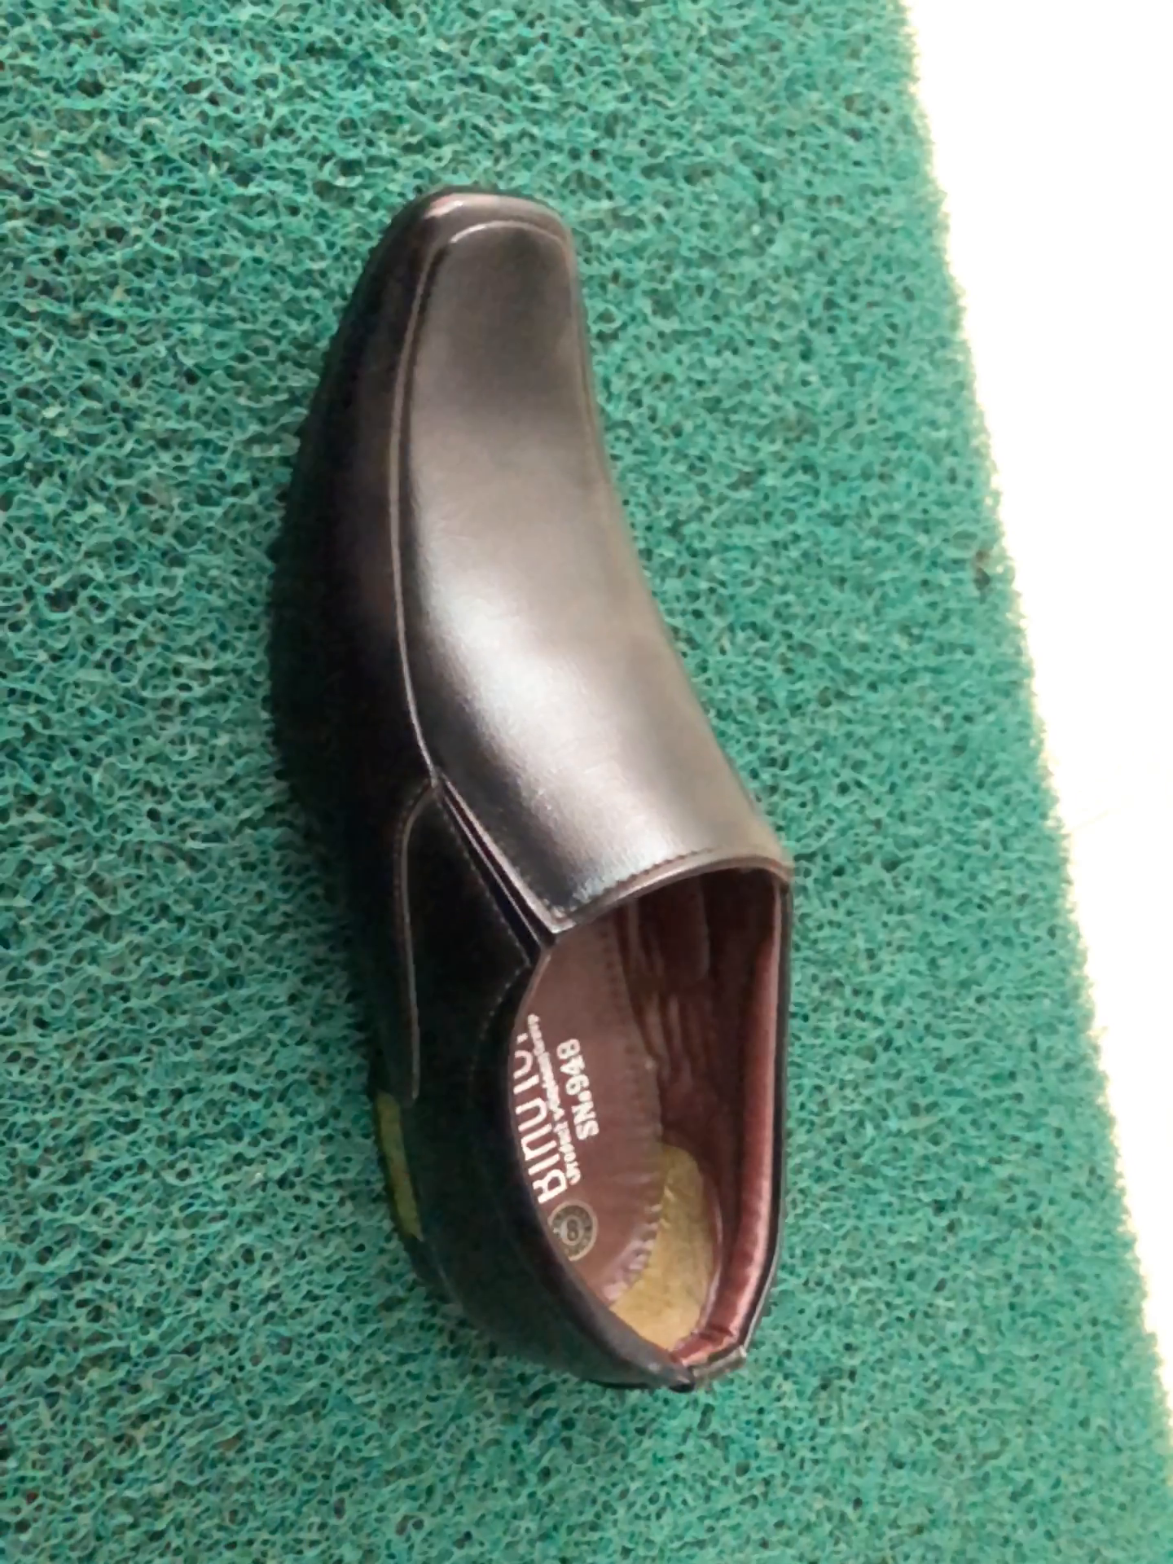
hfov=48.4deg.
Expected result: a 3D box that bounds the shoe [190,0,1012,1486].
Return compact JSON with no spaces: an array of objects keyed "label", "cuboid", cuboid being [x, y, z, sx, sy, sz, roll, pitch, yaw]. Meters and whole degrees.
[{"label":"shoe","cuboid":[0.000,-0.013,0.311,0.111,0.129,0.270,-10,96,-35]}]
